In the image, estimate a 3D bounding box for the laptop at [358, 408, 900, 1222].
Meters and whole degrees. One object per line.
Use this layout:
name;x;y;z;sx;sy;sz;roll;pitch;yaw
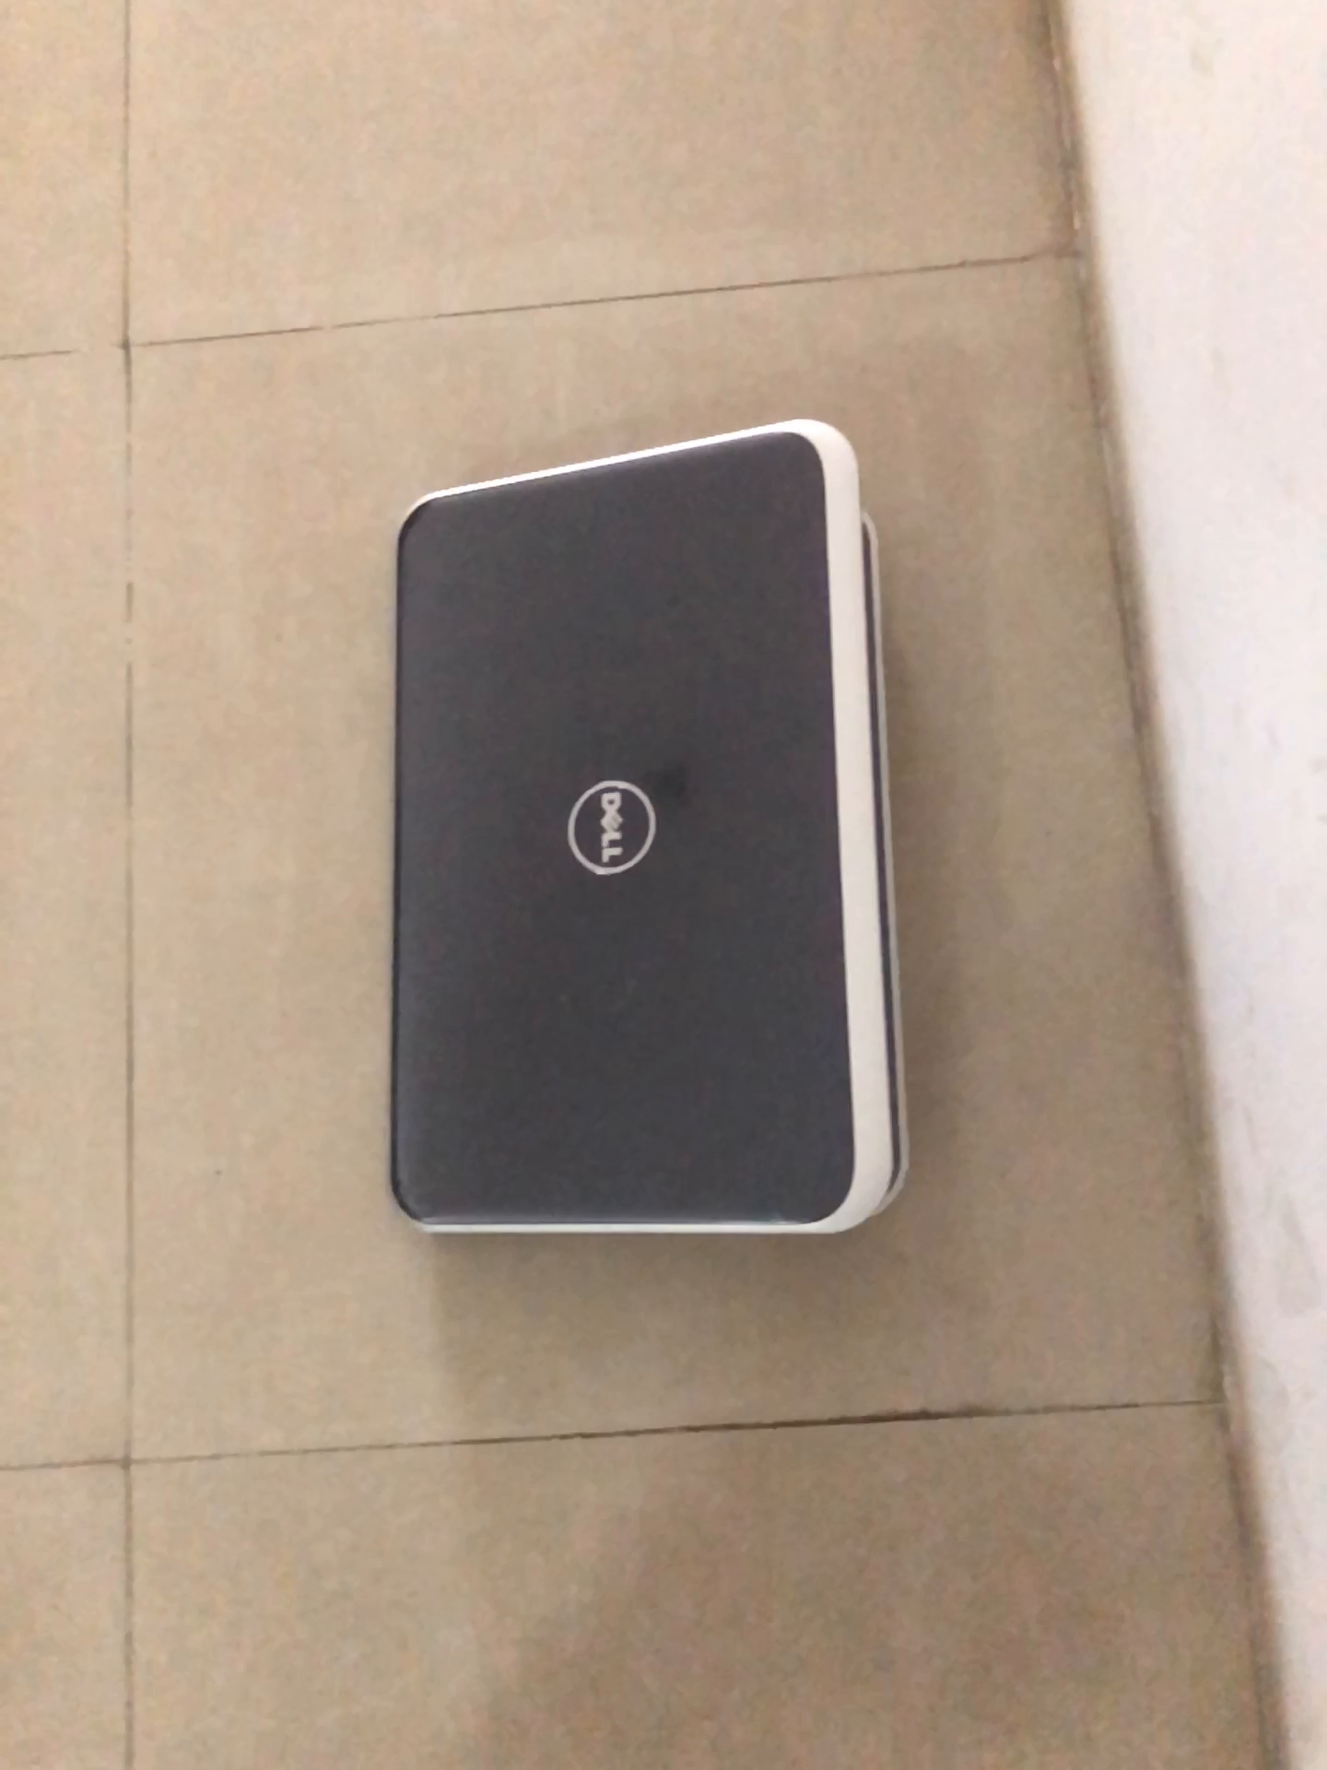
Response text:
laptop;-0.019;-0.028;0.688;0.234;0.080;0.360;-2;82;6
